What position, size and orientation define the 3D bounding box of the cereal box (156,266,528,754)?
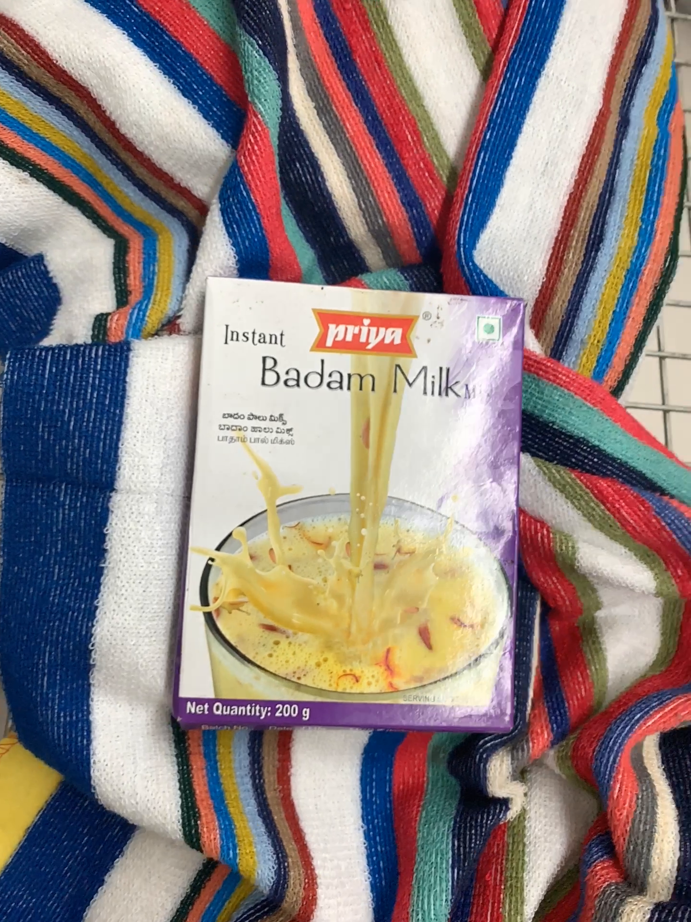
[{"bbox_3d":[0.001,0.018,0.260,0.120,0.030,0.160,4,85,-7],"label":"cereal box"}]
